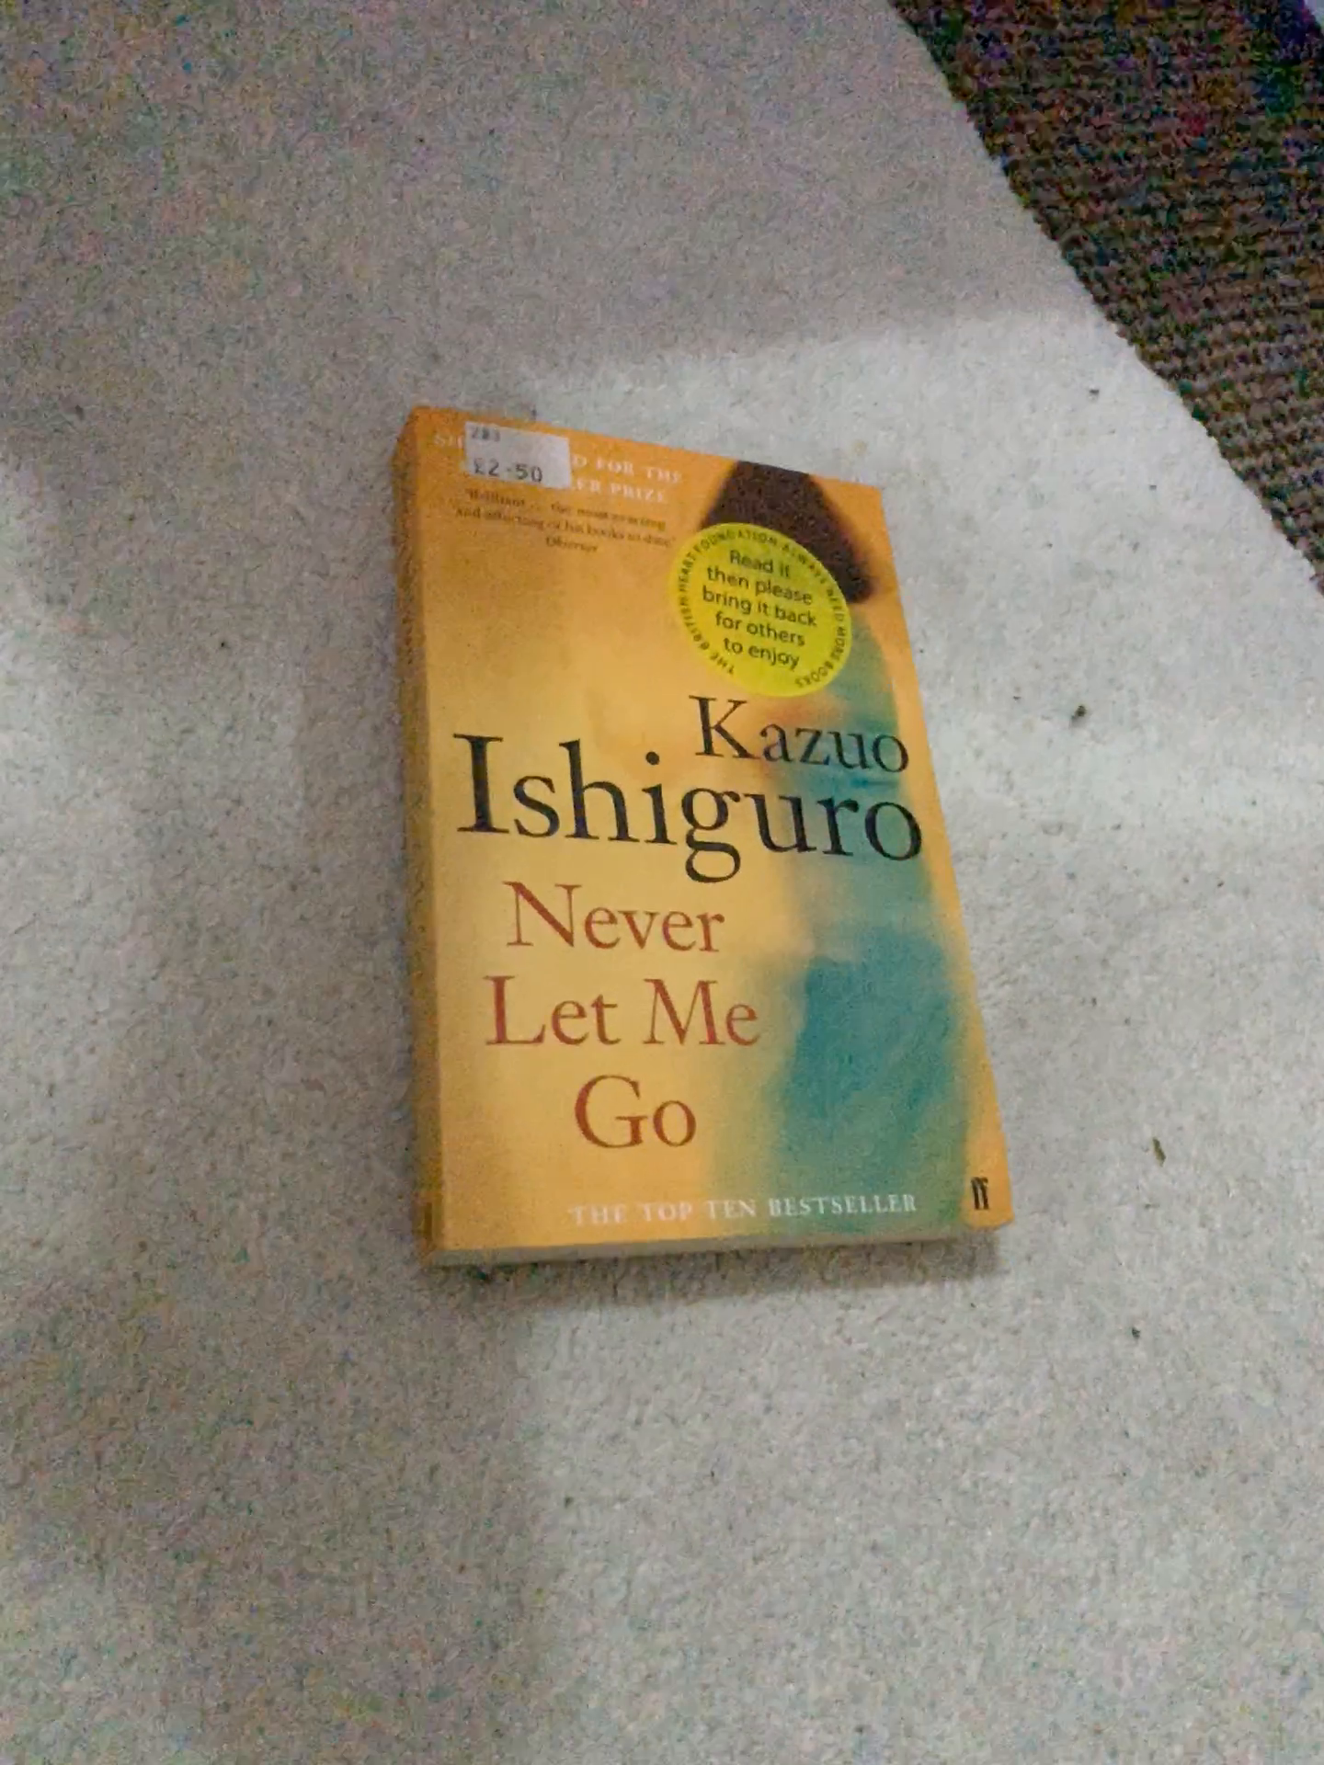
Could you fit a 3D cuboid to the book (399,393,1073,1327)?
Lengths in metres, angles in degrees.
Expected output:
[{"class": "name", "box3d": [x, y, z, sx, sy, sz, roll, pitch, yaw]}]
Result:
[{"class": "book", "box3d": [0.012, -0.012, 0.319, 0.140, 0.020, 0.211, 4, 66, -22]}]
